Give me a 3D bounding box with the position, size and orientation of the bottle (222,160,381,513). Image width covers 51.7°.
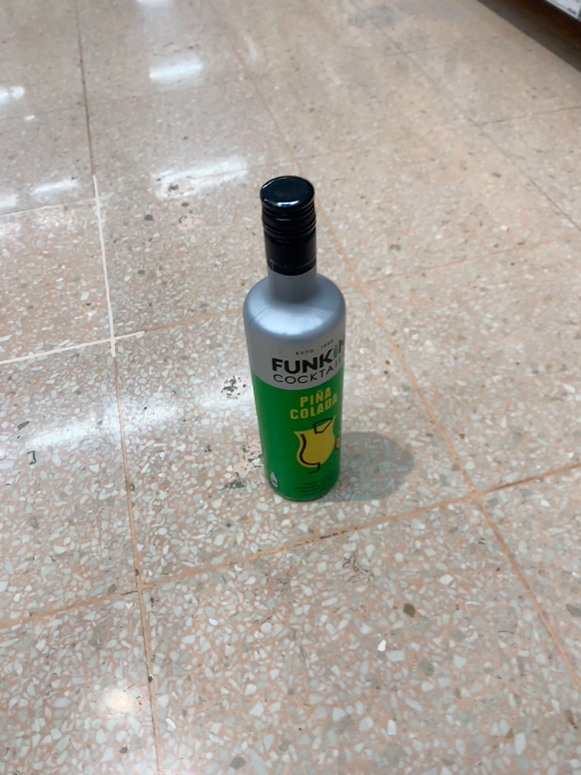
[{"bbox_3d":[0.011,-0.014,0.449,0.073,0.284,0.067,-2,50,2],"label":"bottle"}]
